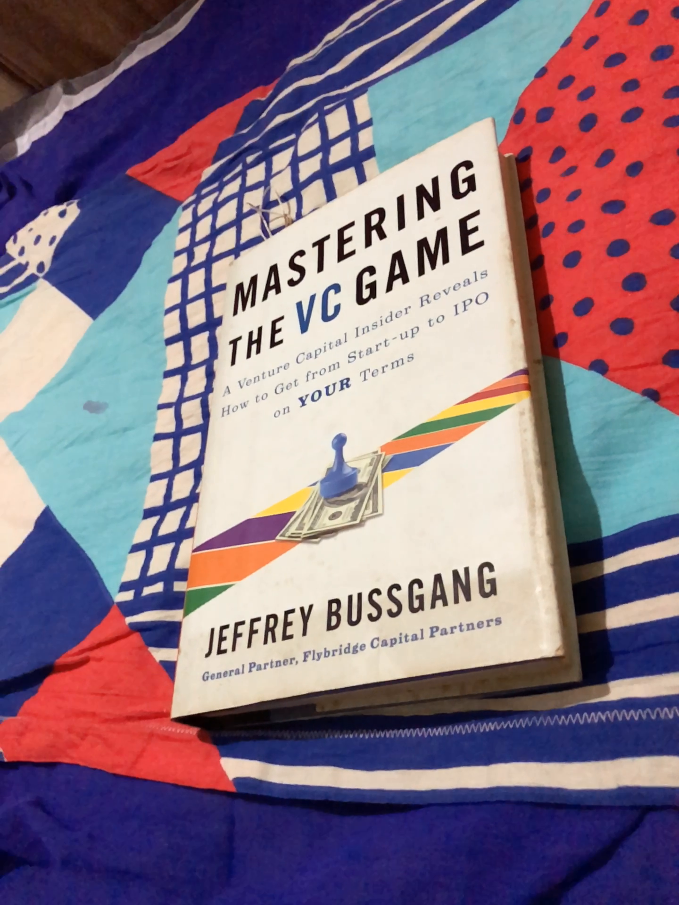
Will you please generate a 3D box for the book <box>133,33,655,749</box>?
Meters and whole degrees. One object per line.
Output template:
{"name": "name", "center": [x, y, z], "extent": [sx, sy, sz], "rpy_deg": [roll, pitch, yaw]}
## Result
{"name": "book", "center": [0.012, -0.030, 0.330], "extent": [0.181, 0.050, 0.280], "rpy_deg": [-19, 54, 32]}
